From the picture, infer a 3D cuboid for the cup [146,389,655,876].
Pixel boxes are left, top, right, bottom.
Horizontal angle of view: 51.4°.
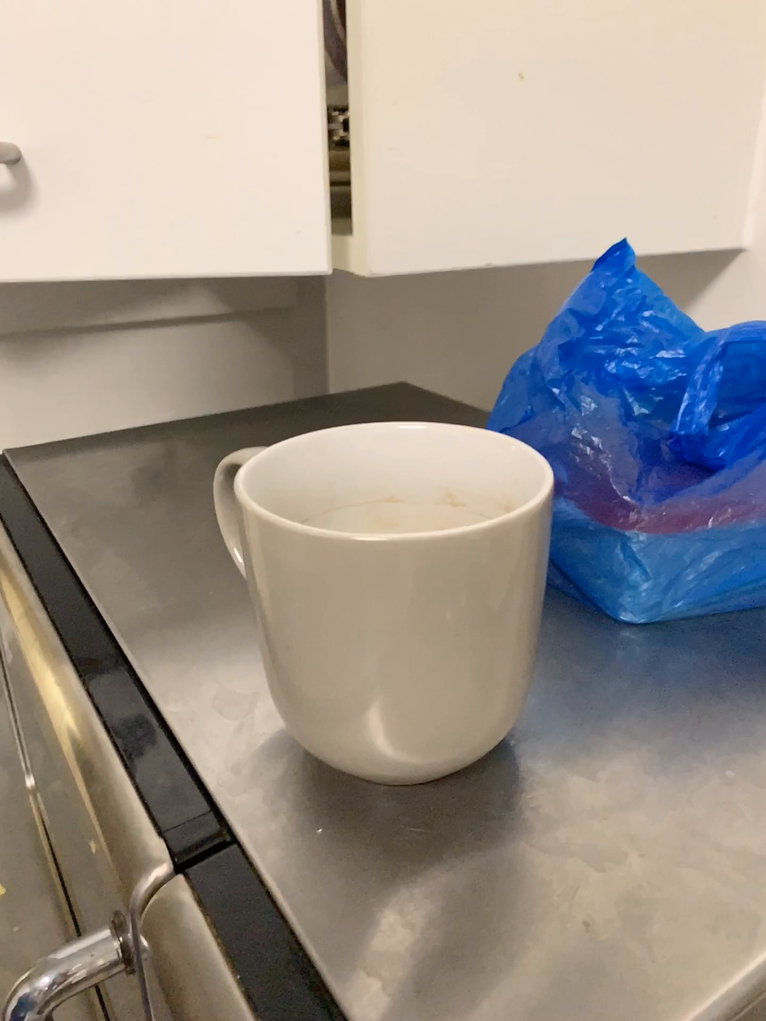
[{"bbox_3d":[-0.002,0.020,0.247,0.094,0.077,0.130,-16,25,-29],"label":"cup"}]
